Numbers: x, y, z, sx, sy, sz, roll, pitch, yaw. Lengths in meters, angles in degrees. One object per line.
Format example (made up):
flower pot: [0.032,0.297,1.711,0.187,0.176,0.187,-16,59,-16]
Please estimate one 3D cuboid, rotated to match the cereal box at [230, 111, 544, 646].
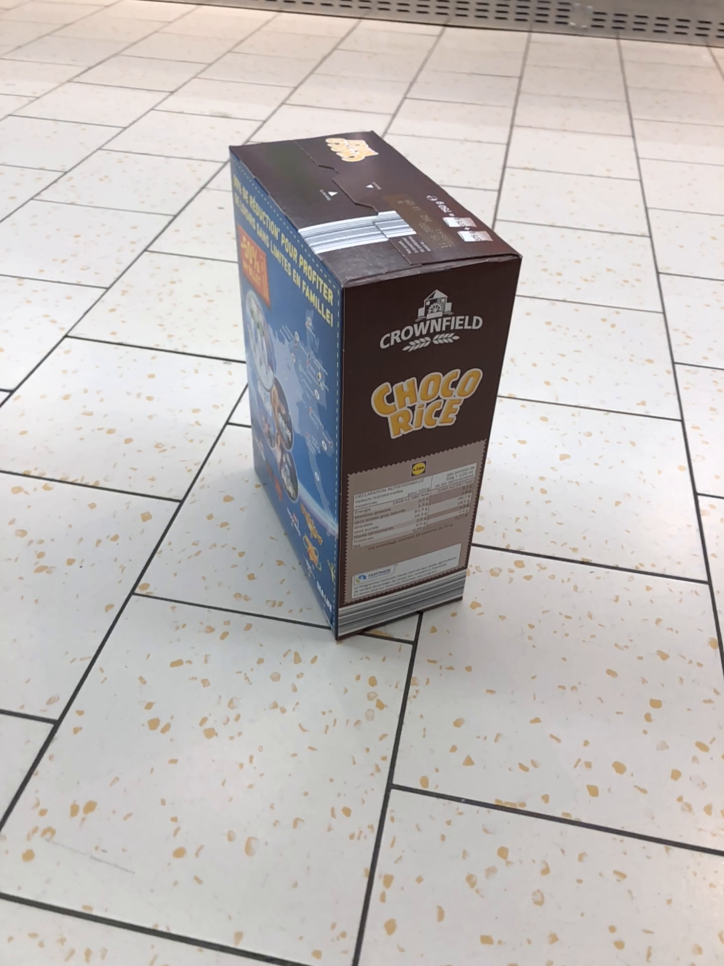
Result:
cereal box: [-0.001,-0.068,0.521,0.100,0.268,0.201,-14,43,-18]
